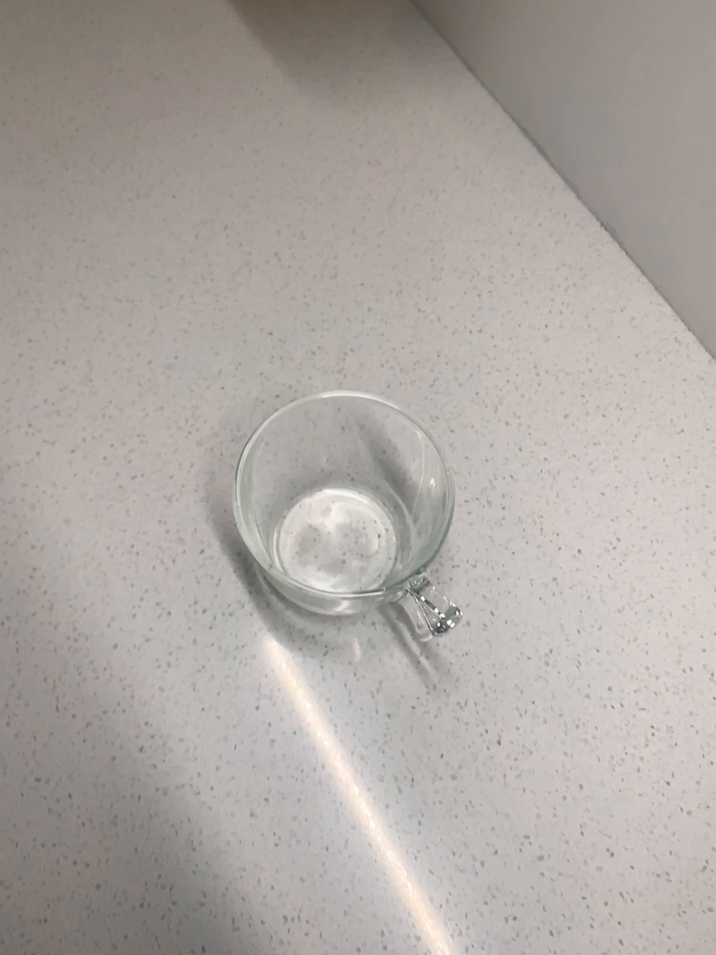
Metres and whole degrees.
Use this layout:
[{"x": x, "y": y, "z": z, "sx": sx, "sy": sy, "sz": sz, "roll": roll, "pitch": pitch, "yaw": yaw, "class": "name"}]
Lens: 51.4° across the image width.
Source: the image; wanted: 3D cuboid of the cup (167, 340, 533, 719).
[{"x": -0.006, "y": 0.024, "z": 0.315, "sx": 0.090, "sy": 0.080, "sz": 0.110, "roll": -32, "pitch": 73, "yaw": -16, "class": "cup"}]
